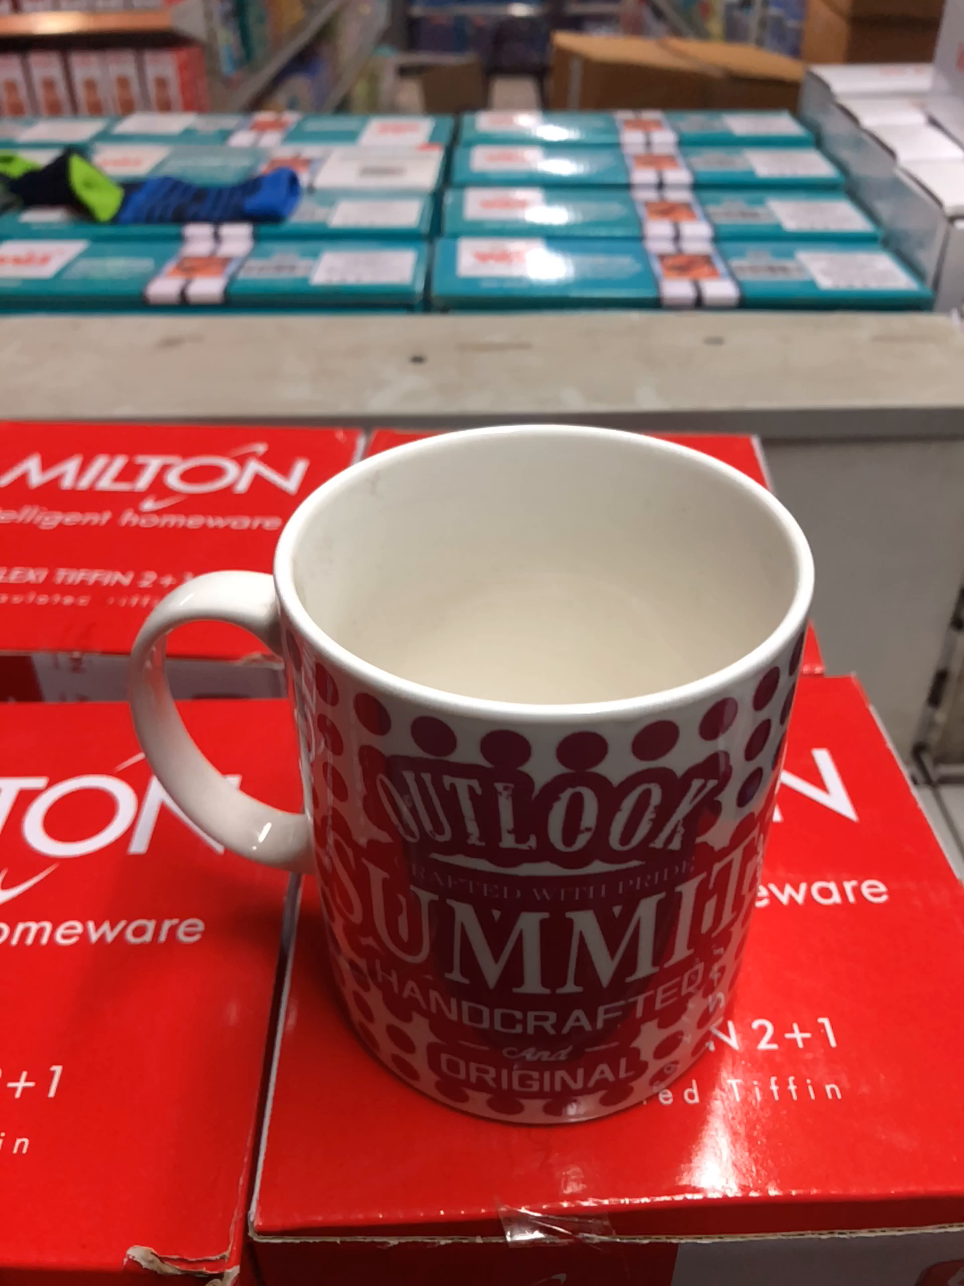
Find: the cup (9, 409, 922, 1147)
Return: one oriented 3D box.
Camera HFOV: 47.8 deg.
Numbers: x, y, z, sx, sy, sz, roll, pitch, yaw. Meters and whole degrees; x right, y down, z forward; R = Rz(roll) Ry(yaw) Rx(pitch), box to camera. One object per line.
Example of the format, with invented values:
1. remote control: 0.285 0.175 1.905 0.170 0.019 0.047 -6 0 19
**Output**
1. cup: -0.001 0.023 0.193 0.110 0.099 0.081 1 38 2
